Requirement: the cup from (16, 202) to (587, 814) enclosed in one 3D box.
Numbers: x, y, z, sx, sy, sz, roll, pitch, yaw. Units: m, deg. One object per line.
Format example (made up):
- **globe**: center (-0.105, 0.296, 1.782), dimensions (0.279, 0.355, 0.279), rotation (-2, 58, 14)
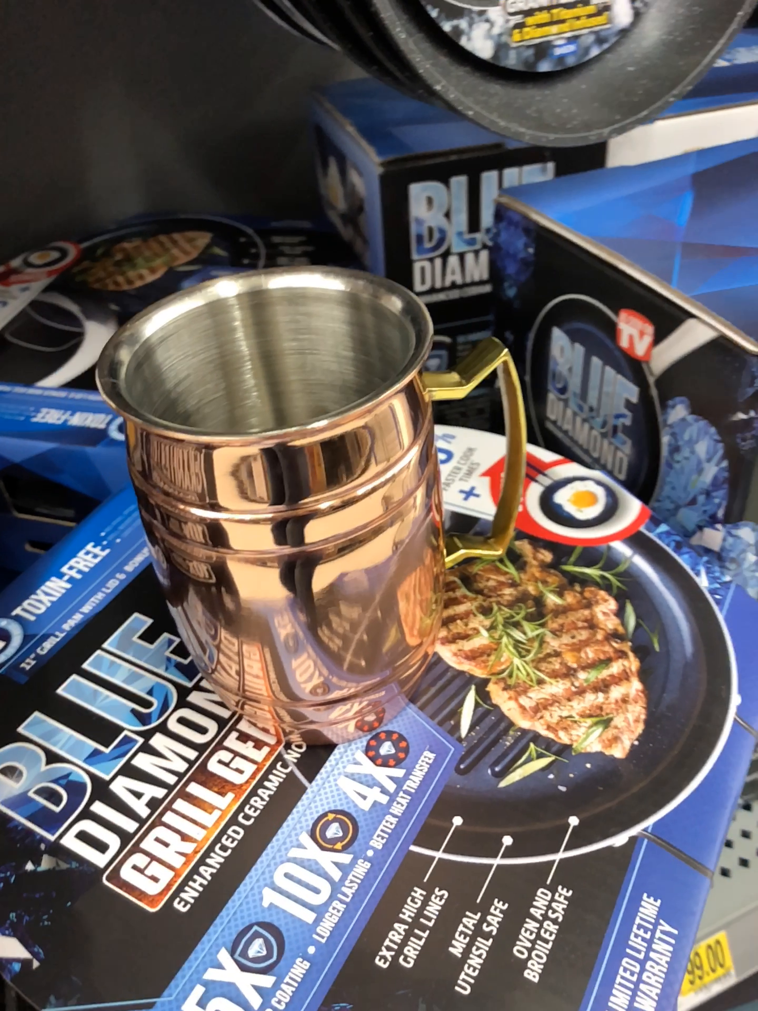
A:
- **cup**: center (-0.016, -0.005, 0.267), dimensions (0.127, 0.126, 0.086), rotation (-29, 45, -27)
